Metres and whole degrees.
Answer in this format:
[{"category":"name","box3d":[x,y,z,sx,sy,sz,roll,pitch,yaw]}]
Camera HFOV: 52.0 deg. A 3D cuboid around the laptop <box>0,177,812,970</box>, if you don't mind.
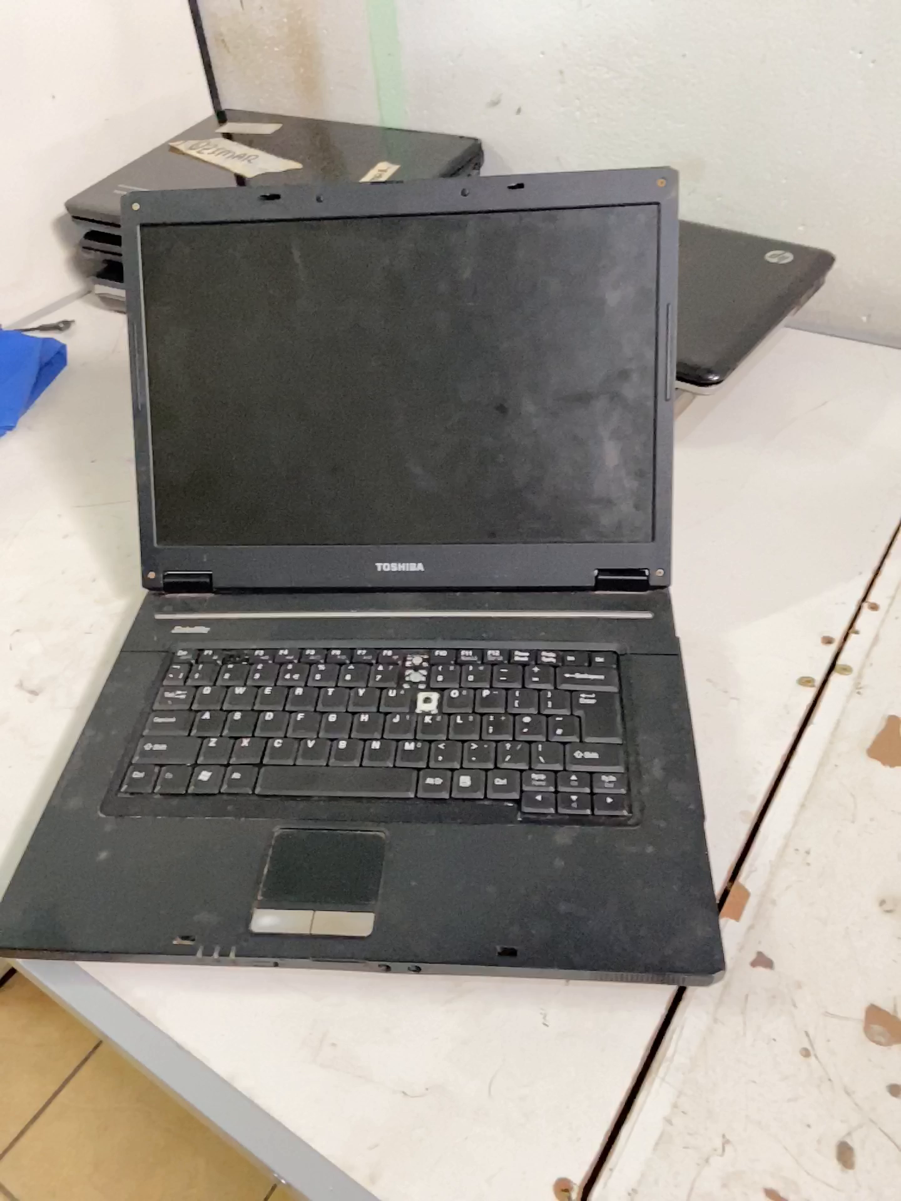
[{"category":"laptop","box3d":[-0.042,-0.045,0.518,0.356,0.212,0.404,0,43,7]}]
